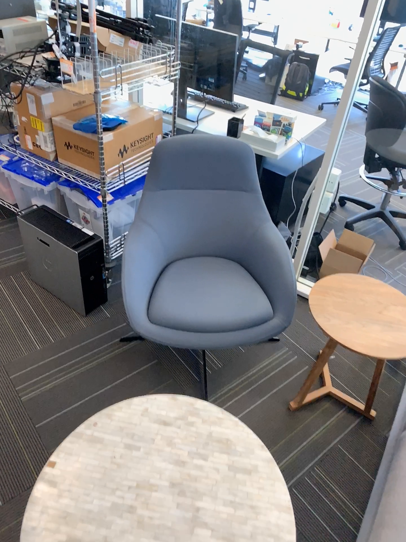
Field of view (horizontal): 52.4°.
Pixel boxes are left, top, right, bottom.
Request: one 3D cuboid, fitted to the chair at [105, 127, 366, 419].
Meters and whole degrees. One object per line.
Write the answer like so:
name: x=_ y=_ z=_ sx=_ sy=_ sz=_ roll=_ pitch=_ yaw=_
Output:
chair: x=0.046 y=-0.006 z=2.003 sx=0.840 sy=0.965 sz=1.005 roll=2 pitch=40 yaw=-6
